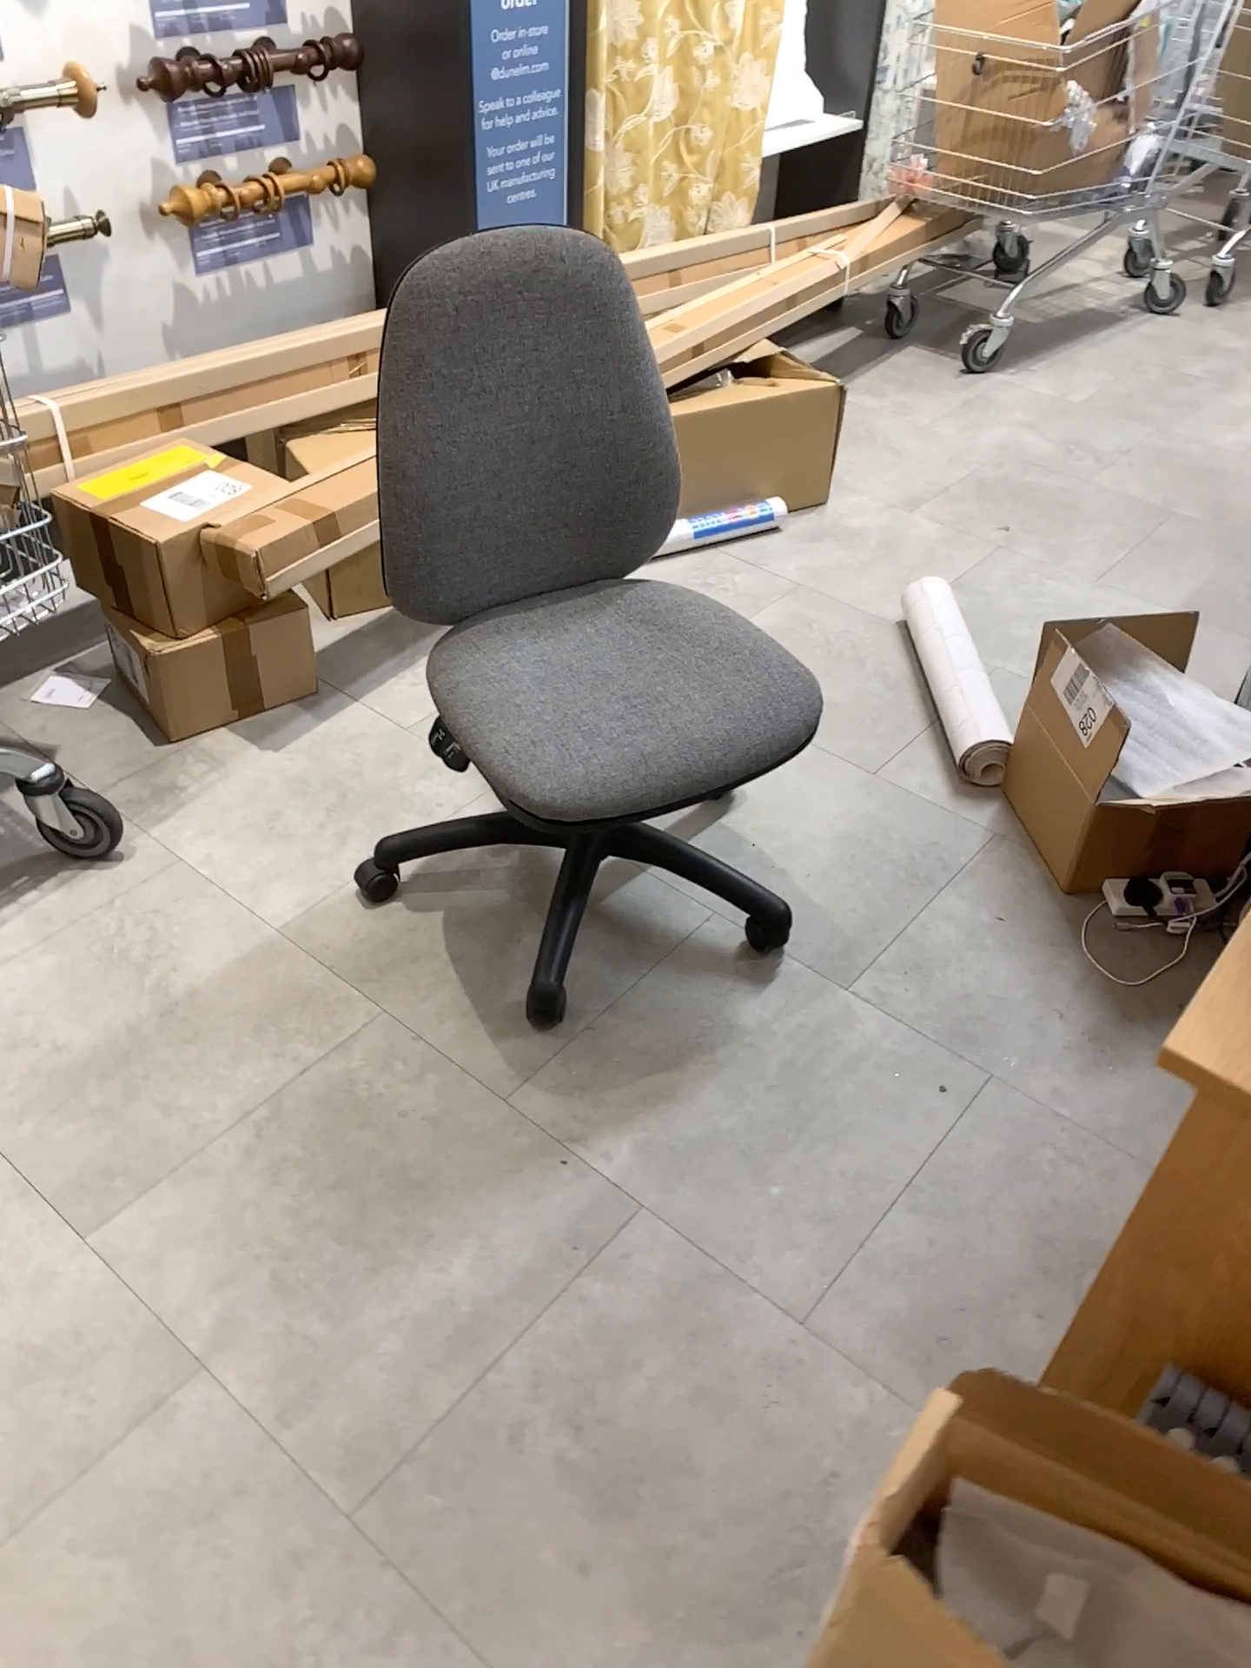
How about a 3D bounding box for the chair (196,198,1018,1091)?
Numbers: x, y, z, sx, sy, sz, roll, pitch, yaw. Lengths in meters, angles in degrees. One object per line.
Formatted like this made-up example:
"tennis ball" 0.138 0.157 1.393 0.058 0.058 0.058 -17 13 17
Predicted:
"chair" -0.057 -0.266 1.564 0.628 0.749 0.628 -20 45 -25
